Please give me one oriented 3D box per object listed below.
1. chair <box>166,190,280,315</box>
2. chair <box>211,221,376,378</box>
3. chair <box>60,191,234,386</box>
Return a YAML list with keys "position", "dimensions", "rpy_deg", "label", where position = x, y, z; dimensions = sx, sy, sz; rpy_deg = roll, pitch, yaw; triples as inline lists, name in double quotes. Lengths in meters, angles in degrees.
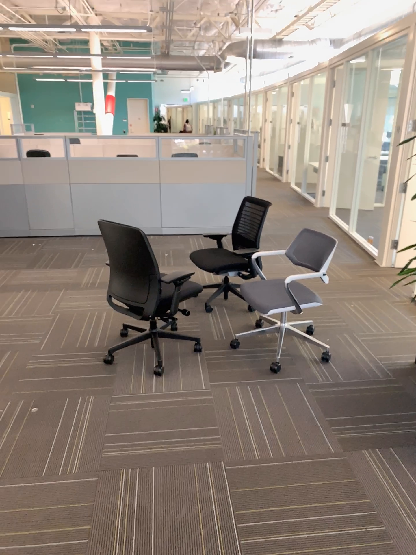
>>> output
- position: [0.120, -0.291, 4.060]
  dimensions: [0.760, 0.926, 0.773]
  rpy_deg: [-11, 21, -28]
  label: "chair"
- position: [0.517, 0.086, 2.902]
  dimensions: [0.760, 0.736, 0.774]
  rpy_deg: [-7, 21, -19]
  label: "chair"
- position: [-0.376, -0.005, 2.838]
  dimensions: [0.772, 0.955, 0.761]
  rpy_deg: [16, 25, 36]
  label: "chair"
